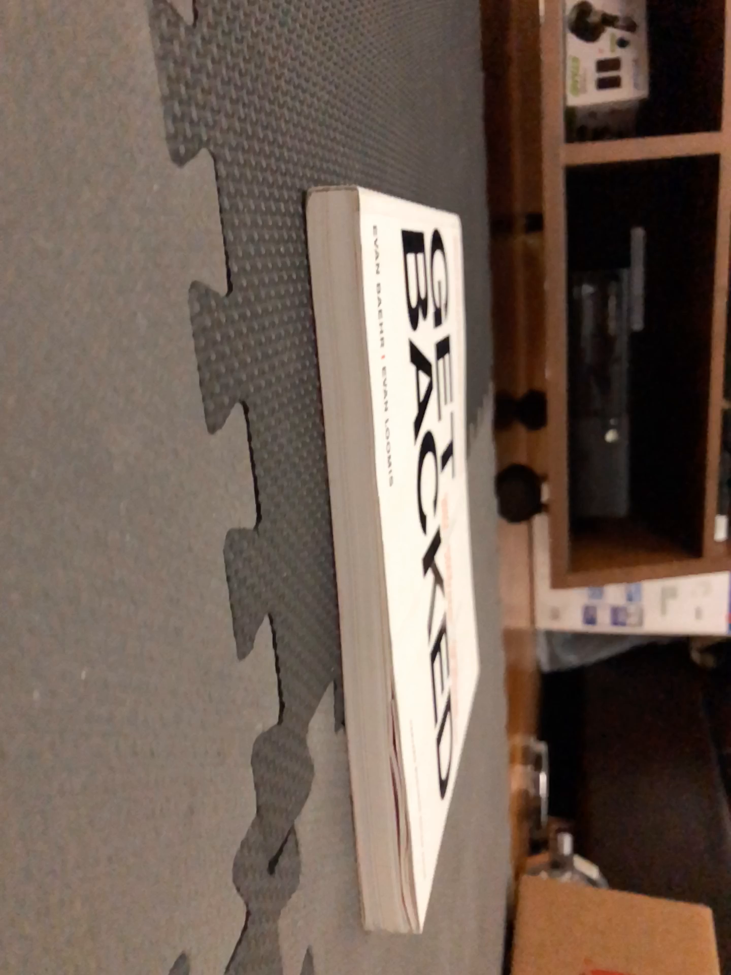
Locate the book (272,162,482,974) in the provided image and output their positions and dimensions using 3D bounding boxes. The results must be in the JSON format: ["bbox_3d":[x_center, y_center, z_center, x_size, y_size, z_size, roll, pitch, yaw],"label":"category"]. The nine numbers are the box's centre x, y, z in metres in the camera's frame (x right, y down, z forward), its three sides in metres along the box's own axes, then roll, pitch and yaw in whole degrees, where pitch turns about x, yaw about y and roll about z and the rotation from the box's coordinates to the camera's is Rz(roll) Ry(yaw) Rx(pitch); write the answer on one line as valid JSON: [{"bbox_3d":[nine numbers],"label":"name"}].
[{"bbox_3d":[0.021,0.015,0.341,0.211,0.020,0.260,-46,134,-68],"label":"book"}]
